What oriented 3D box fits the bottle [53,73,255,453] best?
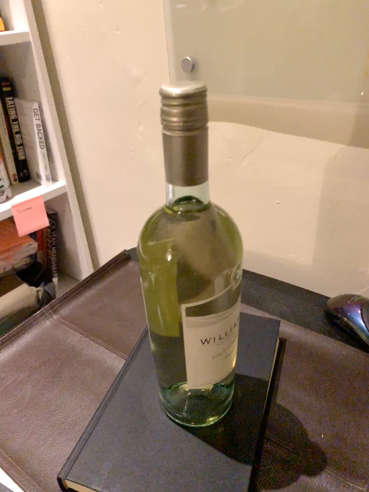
[{"bbox_3d":[-0.006,0.027,0.316,0.090,0.298,0.090,-4,32,2],"label":"bottle"}]
